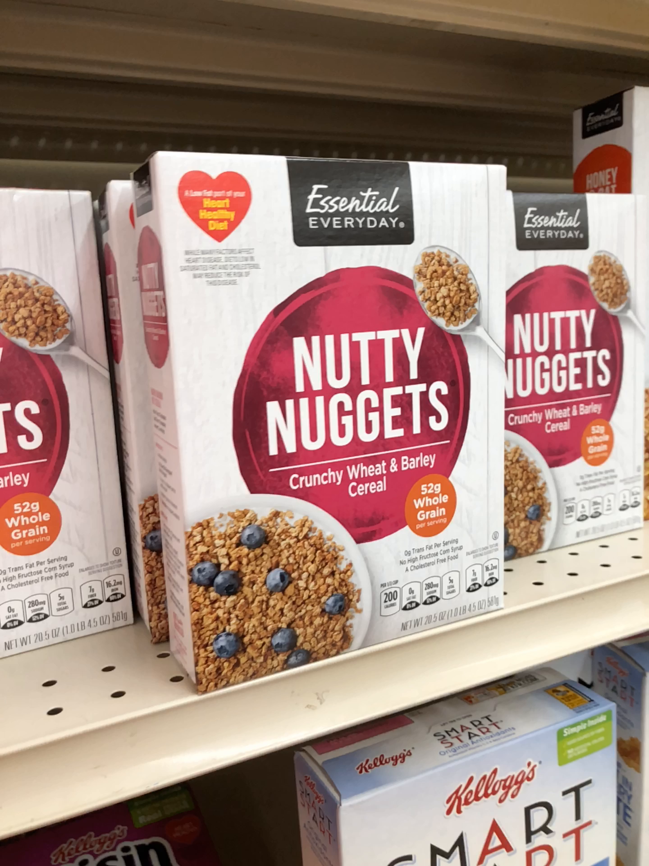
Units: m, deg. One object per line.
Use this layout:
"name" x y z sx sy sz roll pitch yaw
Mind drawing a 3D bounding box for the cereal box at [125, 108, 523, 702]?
"cereal box" 0.009 -0.017 0.338 0.170 0.230 0.050 -8 11 -26
